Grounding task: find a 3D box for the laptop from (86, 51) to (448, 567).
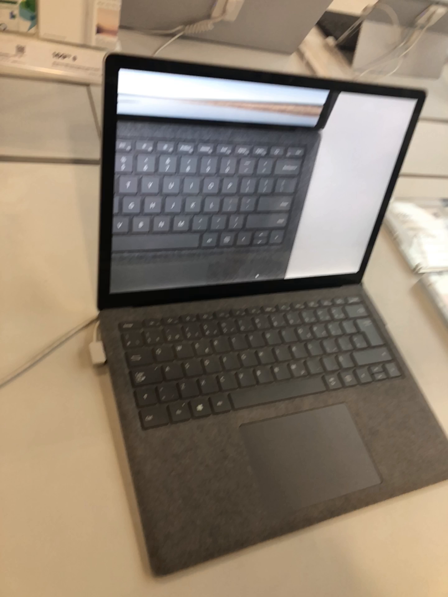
[{"bbox_3d":[0.071,-0.005,0.404,0.297,0.197,0.295,-6,56,-25],"label":"laptop"}]
